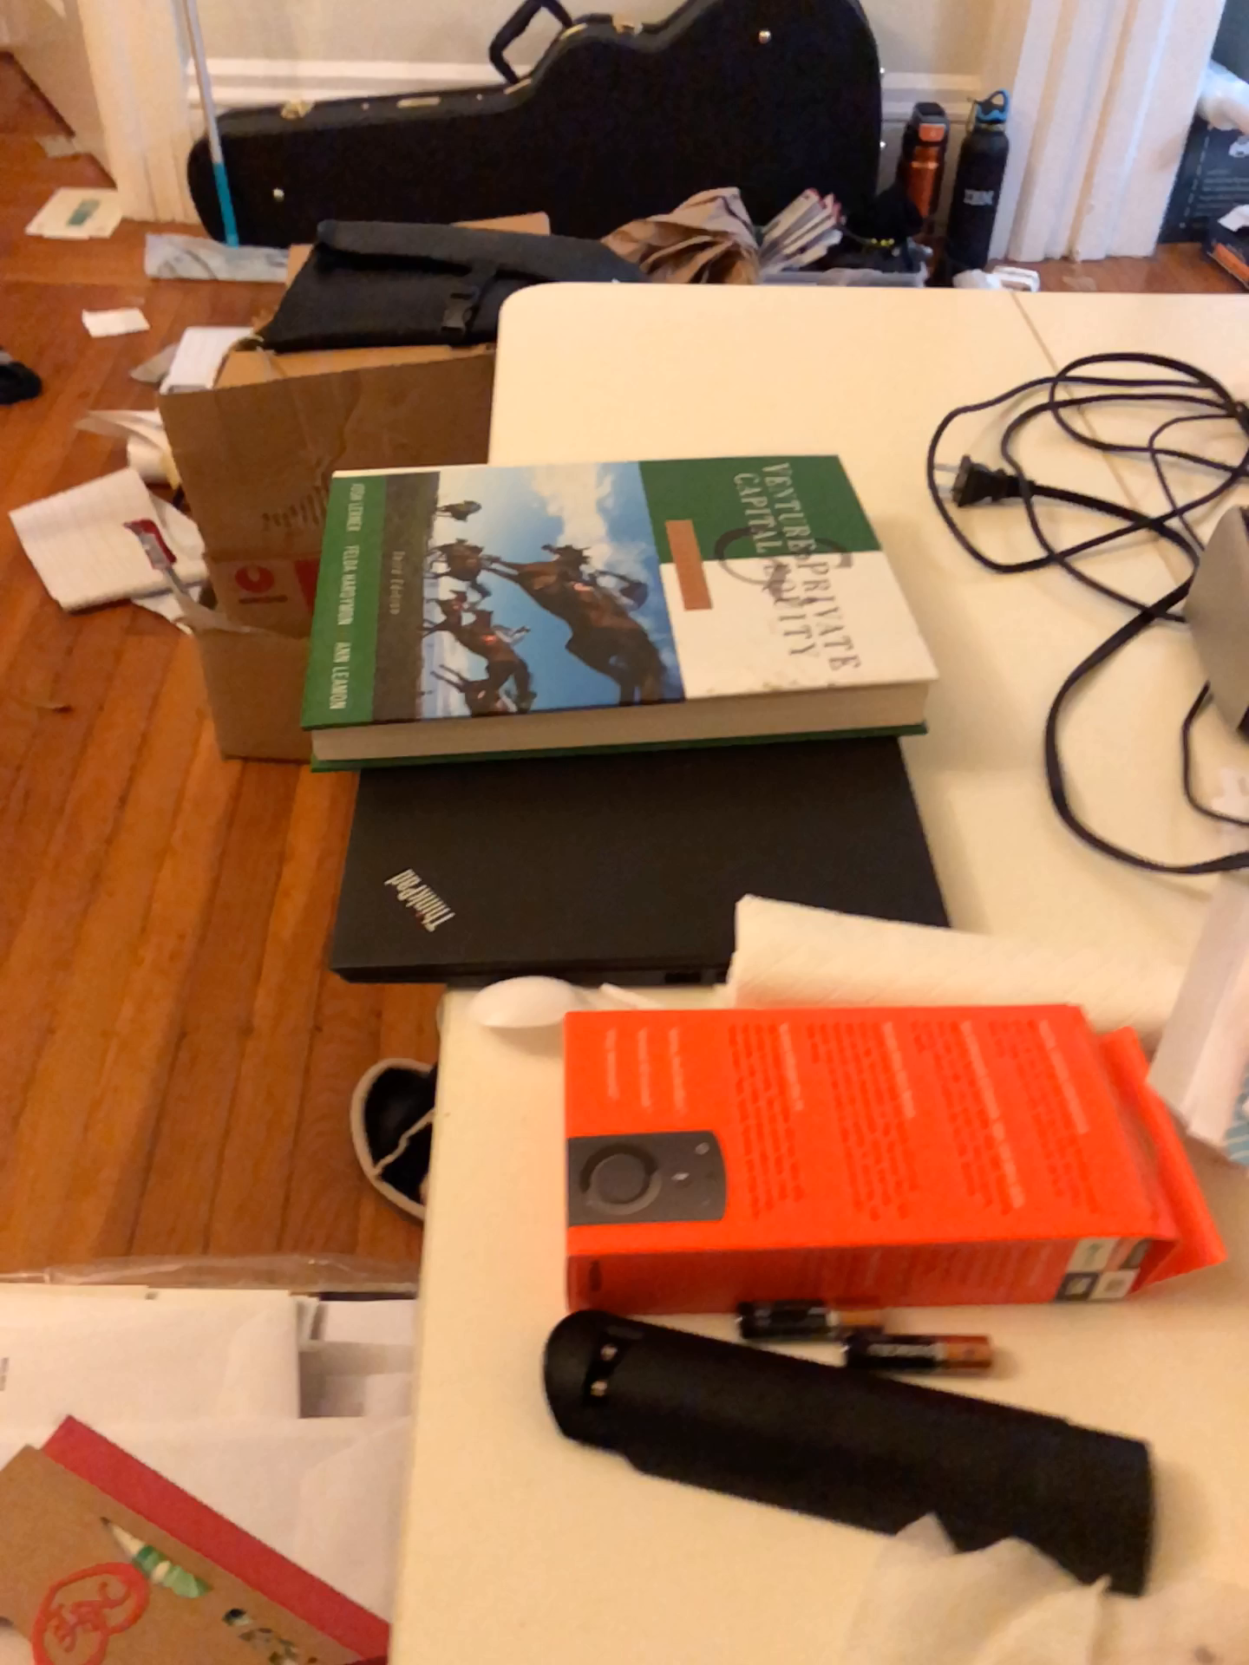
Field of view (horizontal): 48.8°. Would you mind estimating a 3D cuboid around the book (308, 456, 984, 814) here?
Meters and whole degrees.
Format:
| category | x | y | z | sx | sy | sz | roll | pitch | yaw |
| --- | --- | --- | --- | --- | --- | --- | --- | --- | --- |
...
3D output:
| category | x | y | z | sx | sy | sz | roll | pitch | yaw |
| --- | --- | --- | --- | --- | --- | --- | --- | --- | --- |
| book | 0.001 | -0.102 | 0.637 | 0.270 | 0.030 | 0.221 | -3 | 44 | -4 |
